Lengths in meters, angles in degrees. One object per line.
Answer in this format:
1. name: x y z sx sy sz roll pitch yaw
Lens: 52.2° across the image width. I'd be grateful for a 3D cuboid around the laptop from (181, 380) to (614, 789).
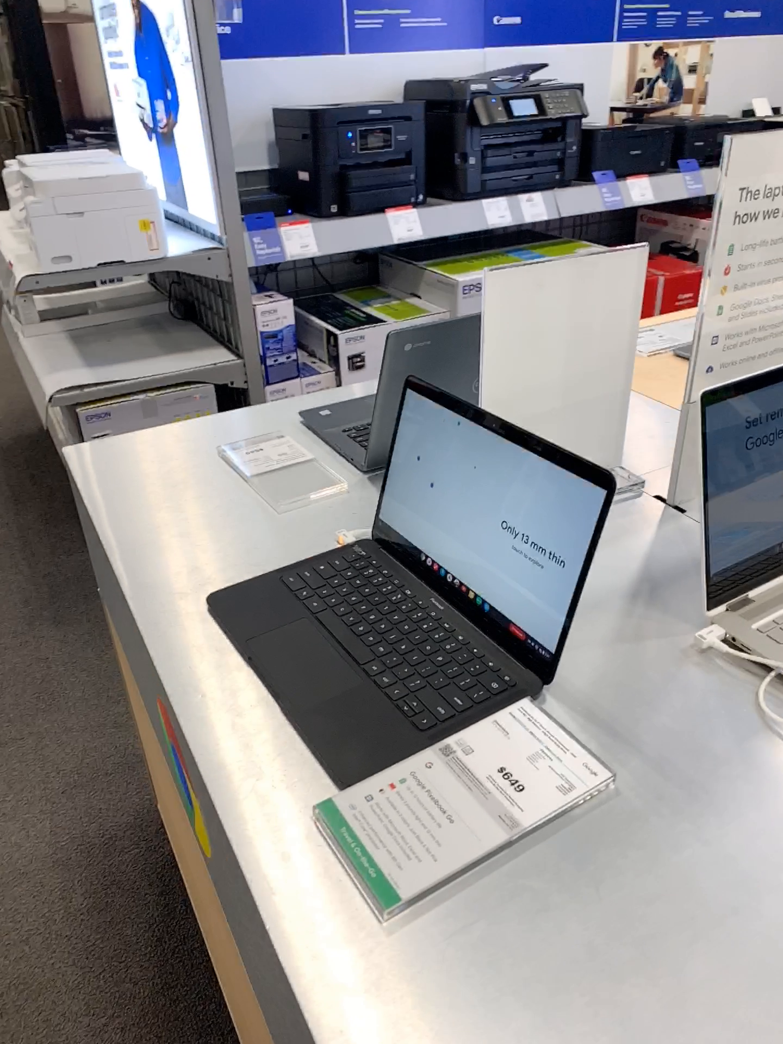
1. laptop: -0.007 0.026 0.729 0.253 0.180 0.295 -20 34 -26
